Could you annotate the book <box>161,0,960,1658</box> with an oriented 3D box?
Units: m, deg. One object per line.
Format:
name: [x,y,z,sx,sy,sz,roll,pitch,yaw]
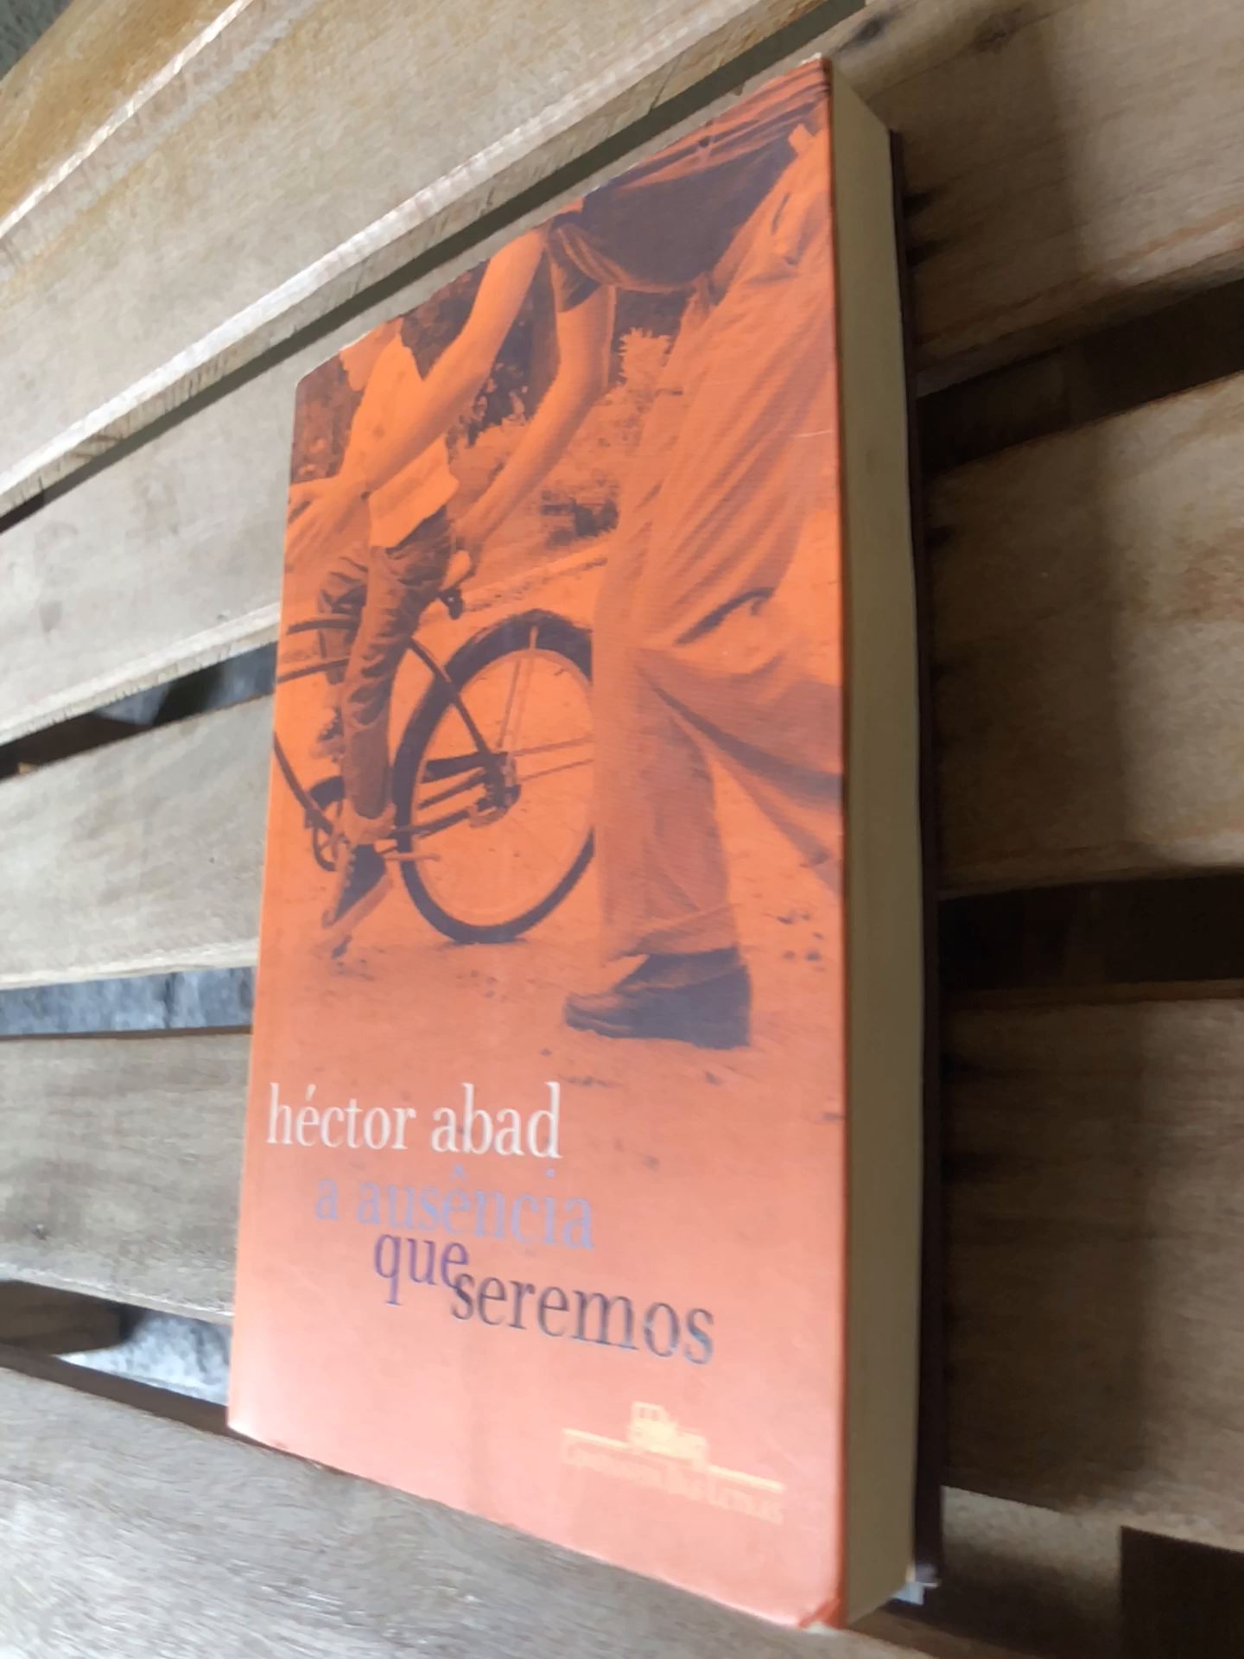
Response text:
book: [-0.019,-0.002,0.215,0.143,0.020,0.200,-10,75,44]
